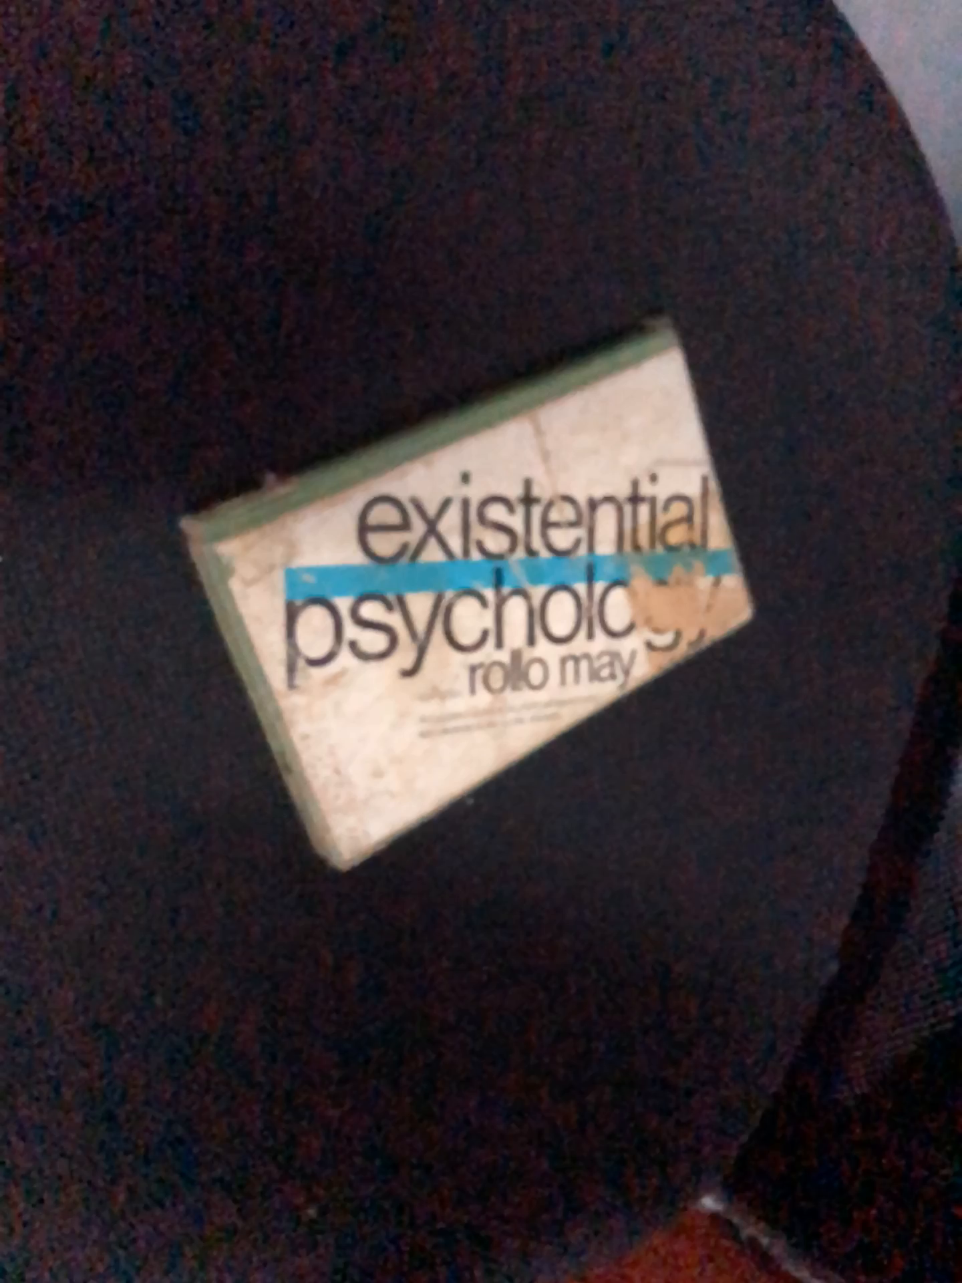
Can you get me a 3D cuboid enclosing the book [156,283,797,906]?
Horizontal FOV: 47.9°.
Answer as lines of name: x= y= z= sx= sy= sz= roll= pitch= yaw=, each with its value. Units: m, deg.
book: x=0.015 y=-0.023 z=0.351 sx=0.201 sy=0.020 sz=0.126 roll=-29 pitch=112 yaw=-26
